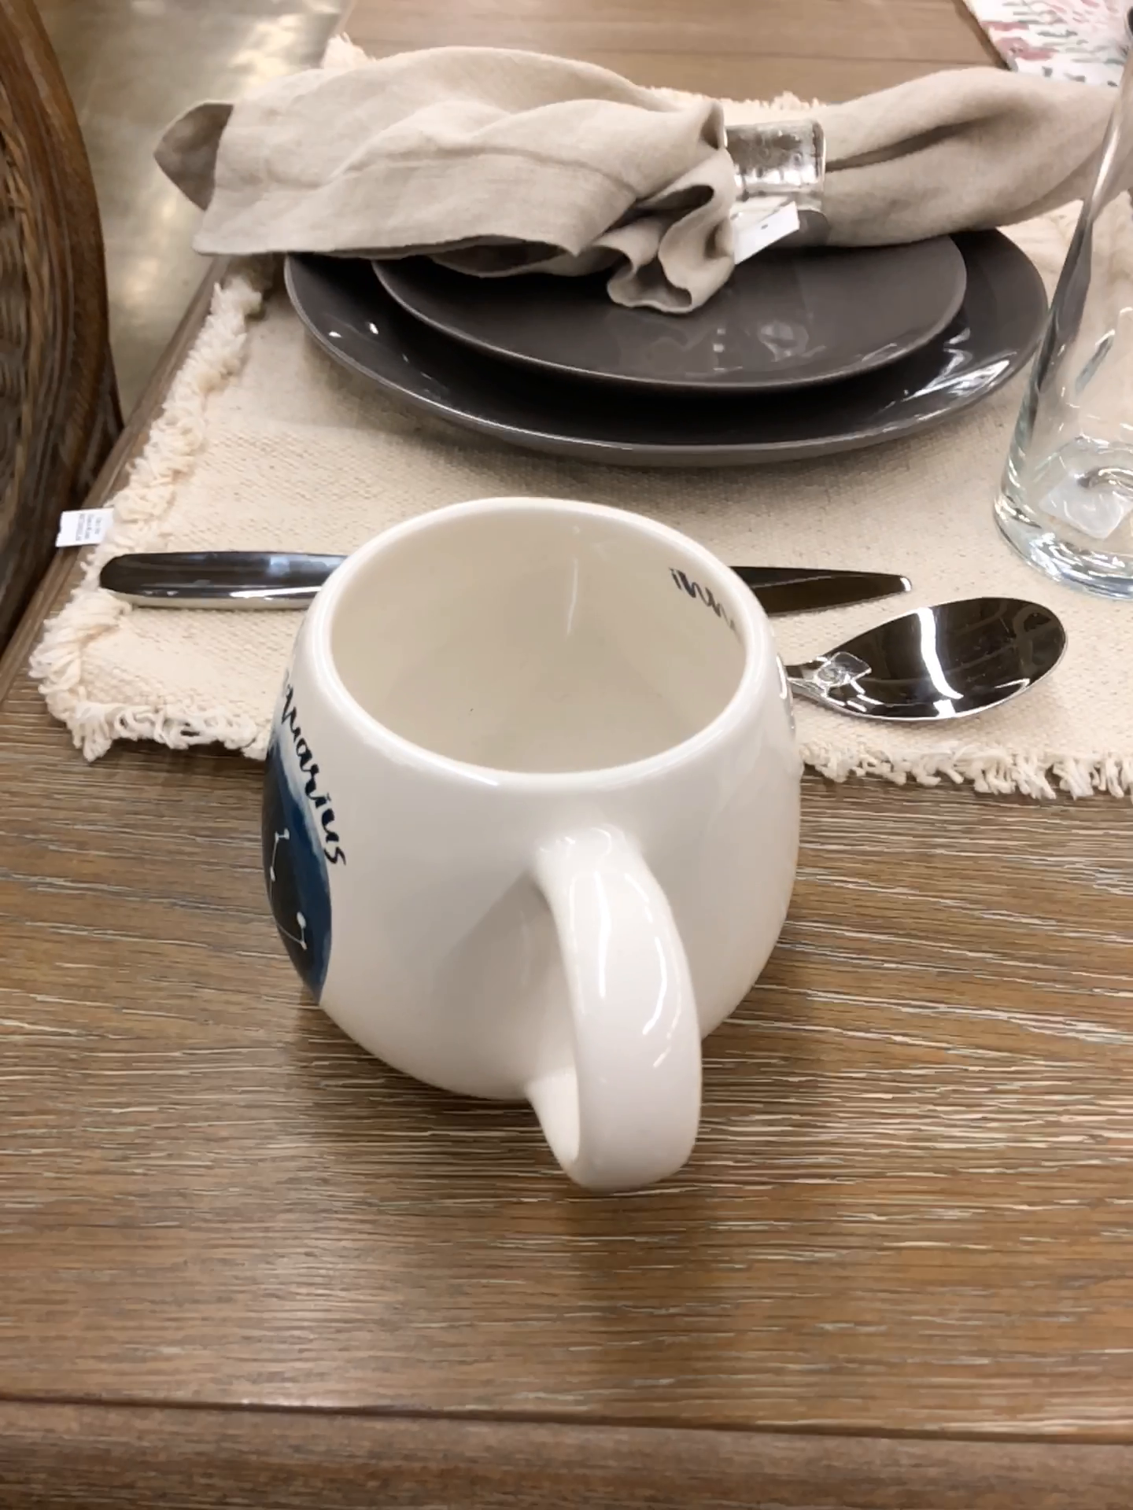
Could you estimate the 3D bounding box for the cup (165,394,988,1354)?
[{"bbox_3d":[-0.010,0.011,0.224,0.082,0.081,0.135,-15,47,-17],"label":"cup"}]
